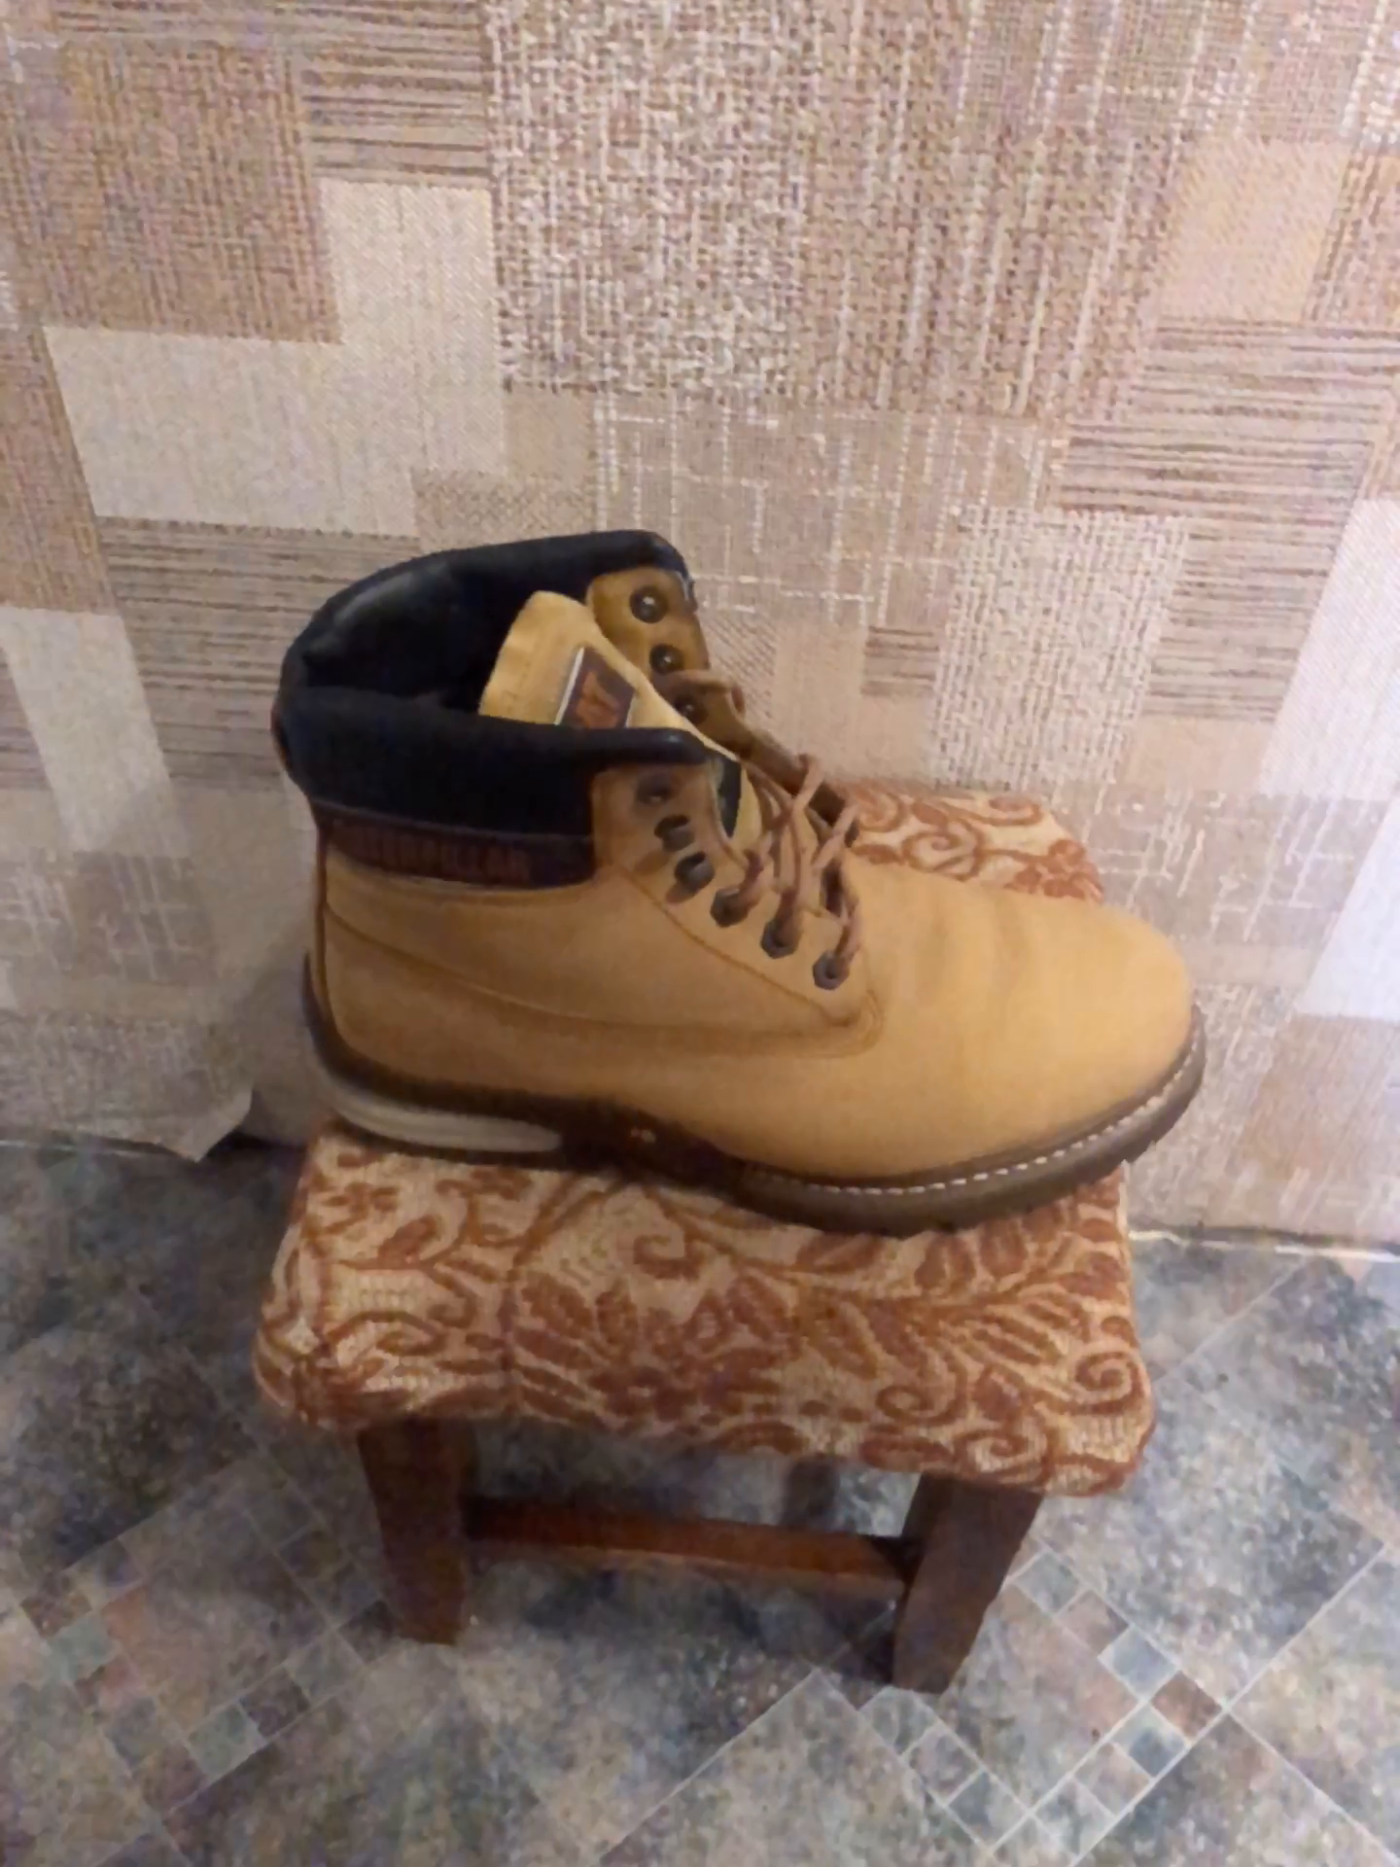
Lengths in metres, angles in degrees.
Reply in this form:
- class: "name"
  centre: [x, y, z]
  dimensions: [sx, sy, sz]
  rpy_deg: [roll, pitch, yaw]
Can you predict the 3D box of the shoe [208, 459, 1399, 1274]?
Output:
- class: "shoe"
  centre: [0.029, -0.016, 0.477]
  dimensions: [0.290, 0.189, 0.131]
  rpy_deg: [5, 46, 1]
